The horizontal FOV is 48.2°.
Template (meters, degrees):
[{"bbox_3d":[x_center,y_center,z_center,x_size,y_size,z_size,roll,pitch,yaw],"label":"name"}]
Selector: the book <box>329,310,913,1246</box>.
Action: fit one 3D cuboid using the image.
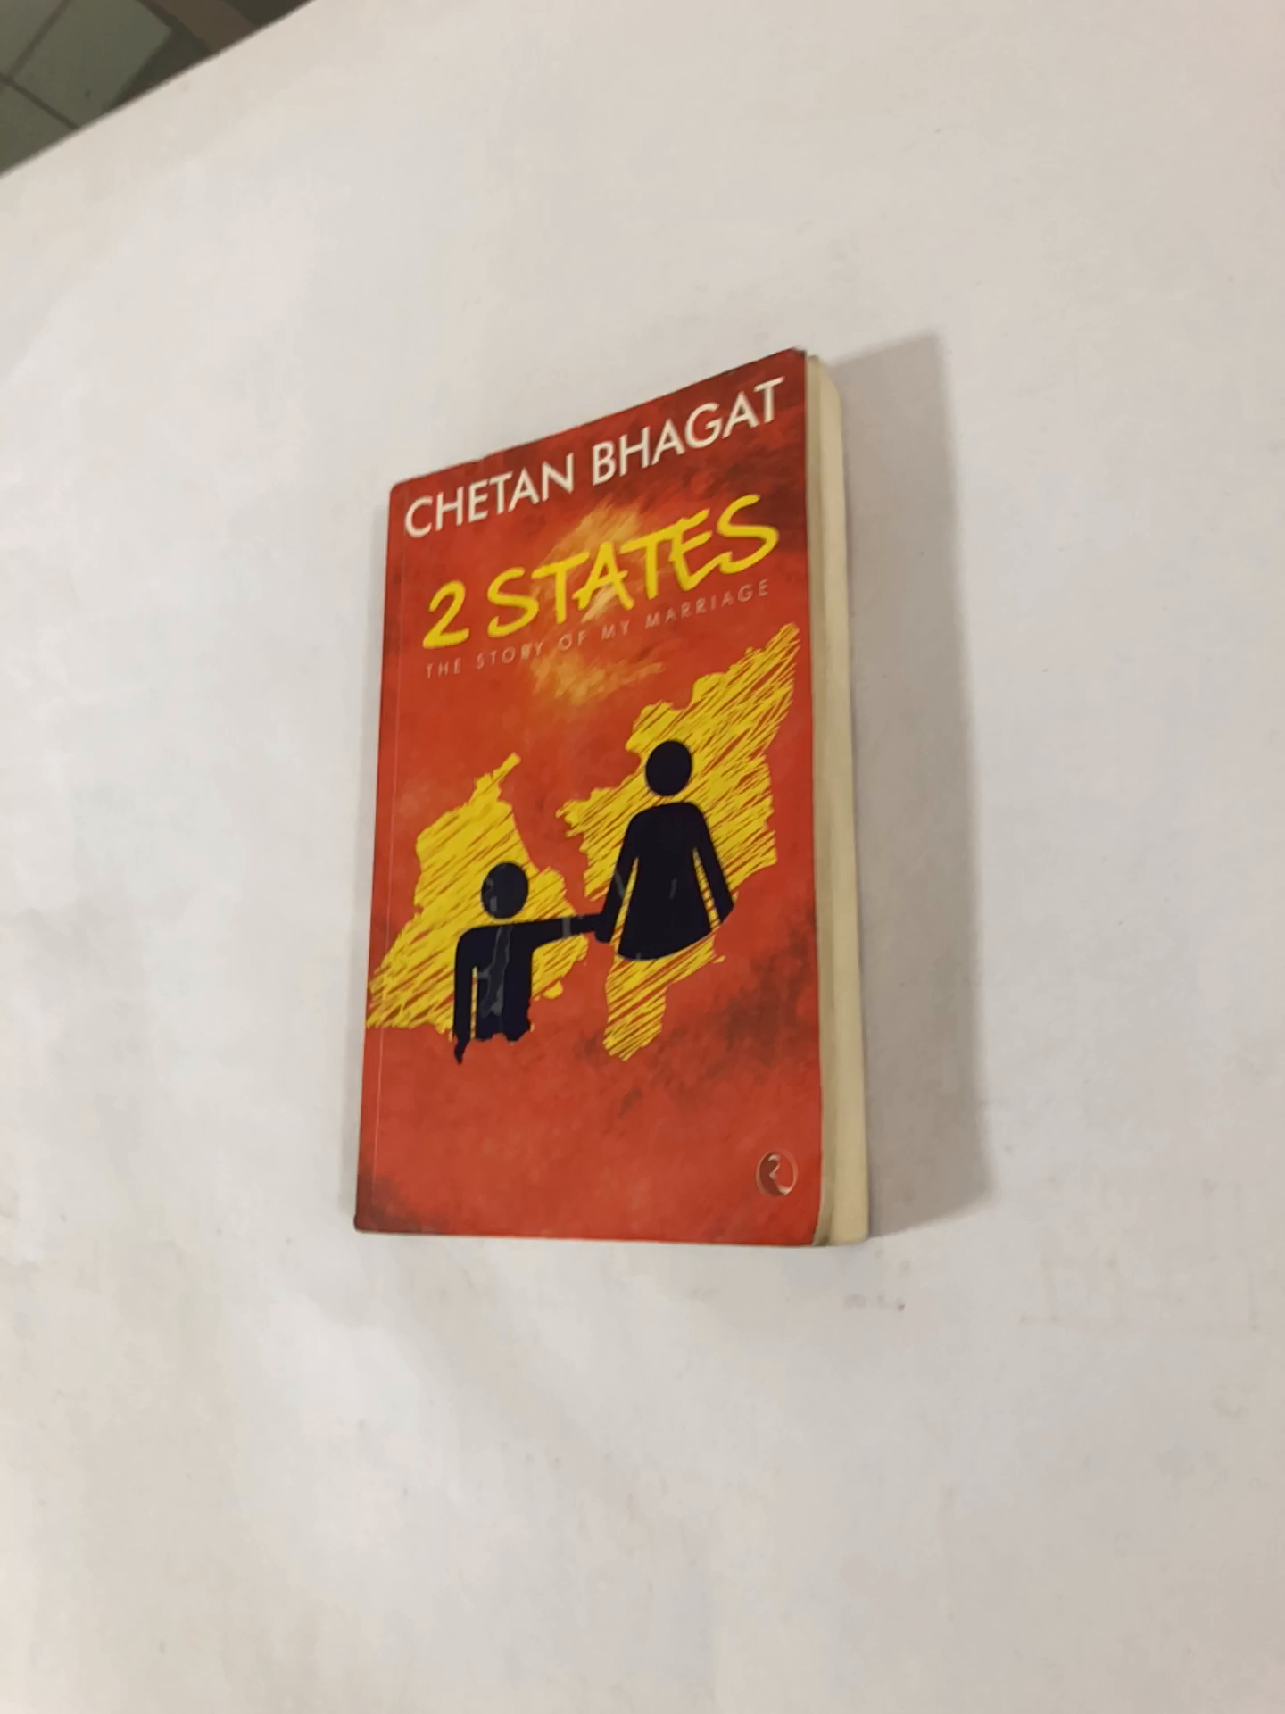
[{"bbox_3d":[-0.007,-0.012,0.329,0.123,0.040,0.190,-7,75,30],"label":"book"}]
